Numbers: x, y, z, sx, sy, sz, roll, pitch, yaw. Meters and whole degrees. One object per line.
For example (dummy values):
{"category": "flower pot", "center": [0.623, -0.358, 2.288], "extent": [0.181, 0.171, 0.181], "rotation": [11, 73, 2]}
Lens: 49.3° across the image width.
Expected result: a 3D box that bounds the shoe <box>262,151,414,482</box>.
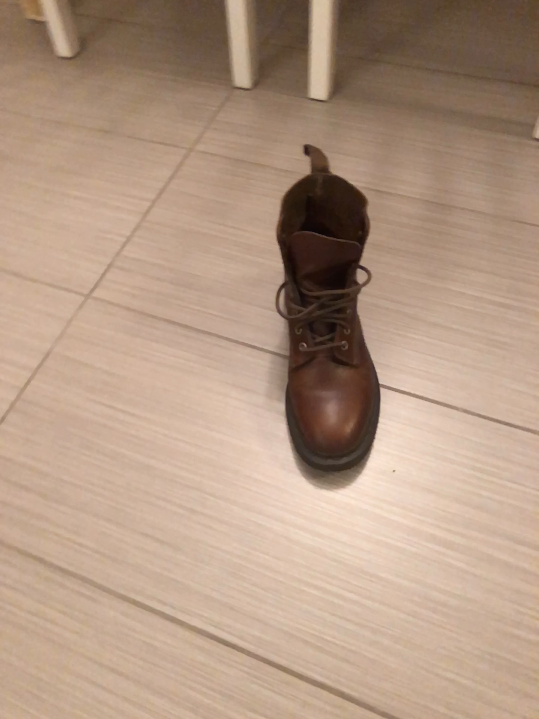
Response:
{"category": "shoe", "center": [0.063, -0.043, 0.598], "extent": [0.115, 0.180, 0.283], "rotation": [-1, 57, 5]}
